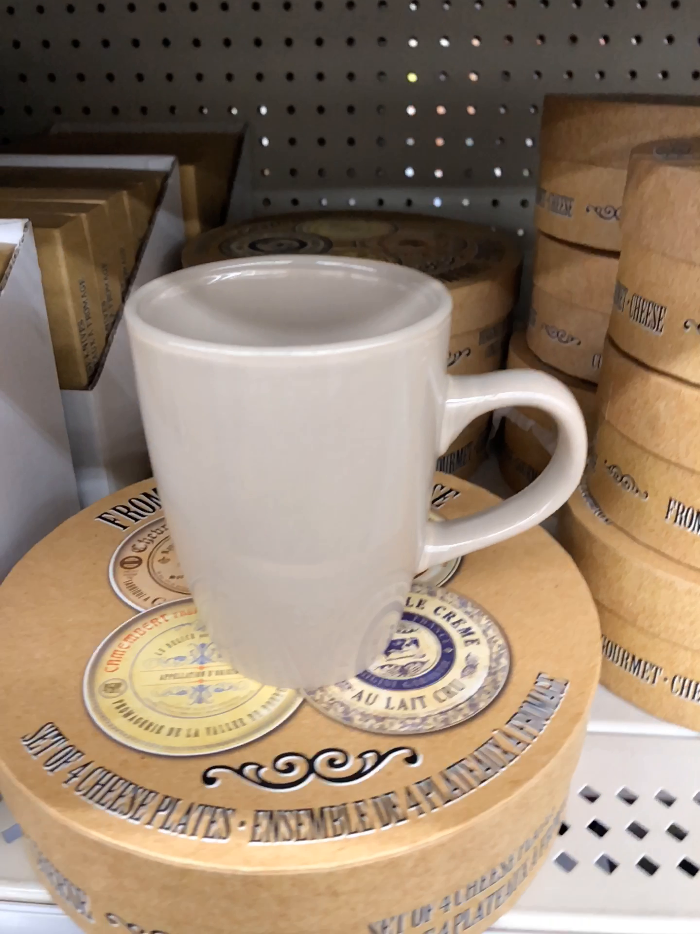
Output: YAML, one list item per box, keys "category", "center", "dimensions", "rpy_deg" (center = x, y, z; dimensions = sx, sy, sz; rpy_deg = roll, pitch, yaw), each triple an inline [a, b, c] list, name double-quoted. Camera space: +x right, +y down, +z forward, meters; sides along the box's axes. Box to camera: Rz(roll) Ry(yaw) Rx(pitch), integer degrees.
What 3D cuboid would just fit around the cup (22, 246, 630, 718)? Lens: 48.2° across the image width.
- category: "cup"
  center: [-0.002, -0.002, 0.229]
  dimensions: [0.130, 0.100, 0.090]
  rpy_deg: [3, 29, 6]
